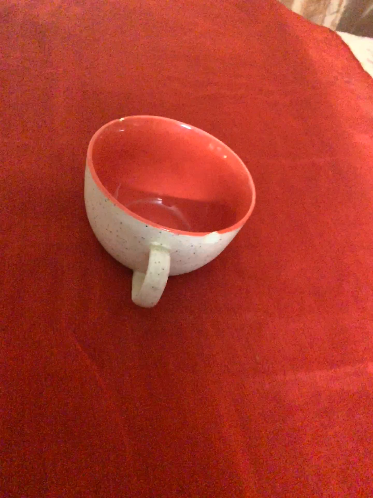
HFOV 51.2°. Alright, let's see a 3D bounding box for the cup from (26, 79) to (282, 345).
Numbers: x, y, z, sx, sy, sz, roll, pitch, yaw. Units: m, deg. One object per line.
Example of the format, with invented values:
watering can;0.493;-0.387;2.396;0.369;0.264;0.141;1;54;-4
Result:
cup;-0.015;-0.028;0.263;0.130;0.069;0.141;10;51;-12
